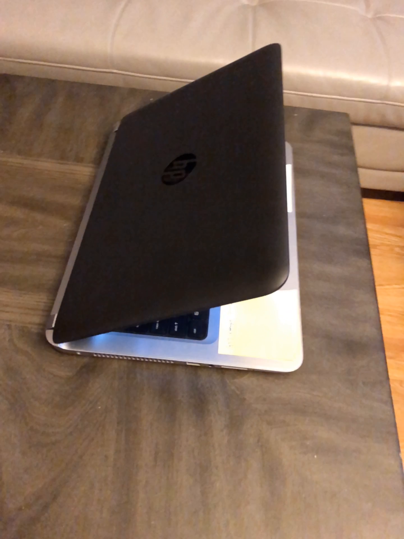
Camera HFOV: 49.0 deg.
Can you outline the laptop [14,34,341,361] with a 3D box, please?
[{"bbox_3d":[-0.010,-0.092,0.457,0.225,0.131,0.325,5,52,0],"label":"laptop"}]
